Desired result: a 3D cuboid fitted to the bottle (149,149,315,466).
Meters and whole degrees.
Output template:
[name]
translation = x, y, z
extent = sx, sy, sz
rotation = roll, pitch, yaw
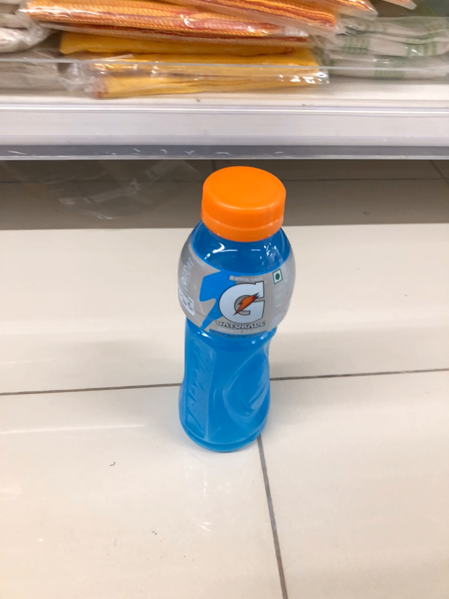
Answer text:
[bottle]
translation = 0.003, 0.017, 0.299
extent = 0.070, 0.189, 0.070
rotation = 2, 45, -2
